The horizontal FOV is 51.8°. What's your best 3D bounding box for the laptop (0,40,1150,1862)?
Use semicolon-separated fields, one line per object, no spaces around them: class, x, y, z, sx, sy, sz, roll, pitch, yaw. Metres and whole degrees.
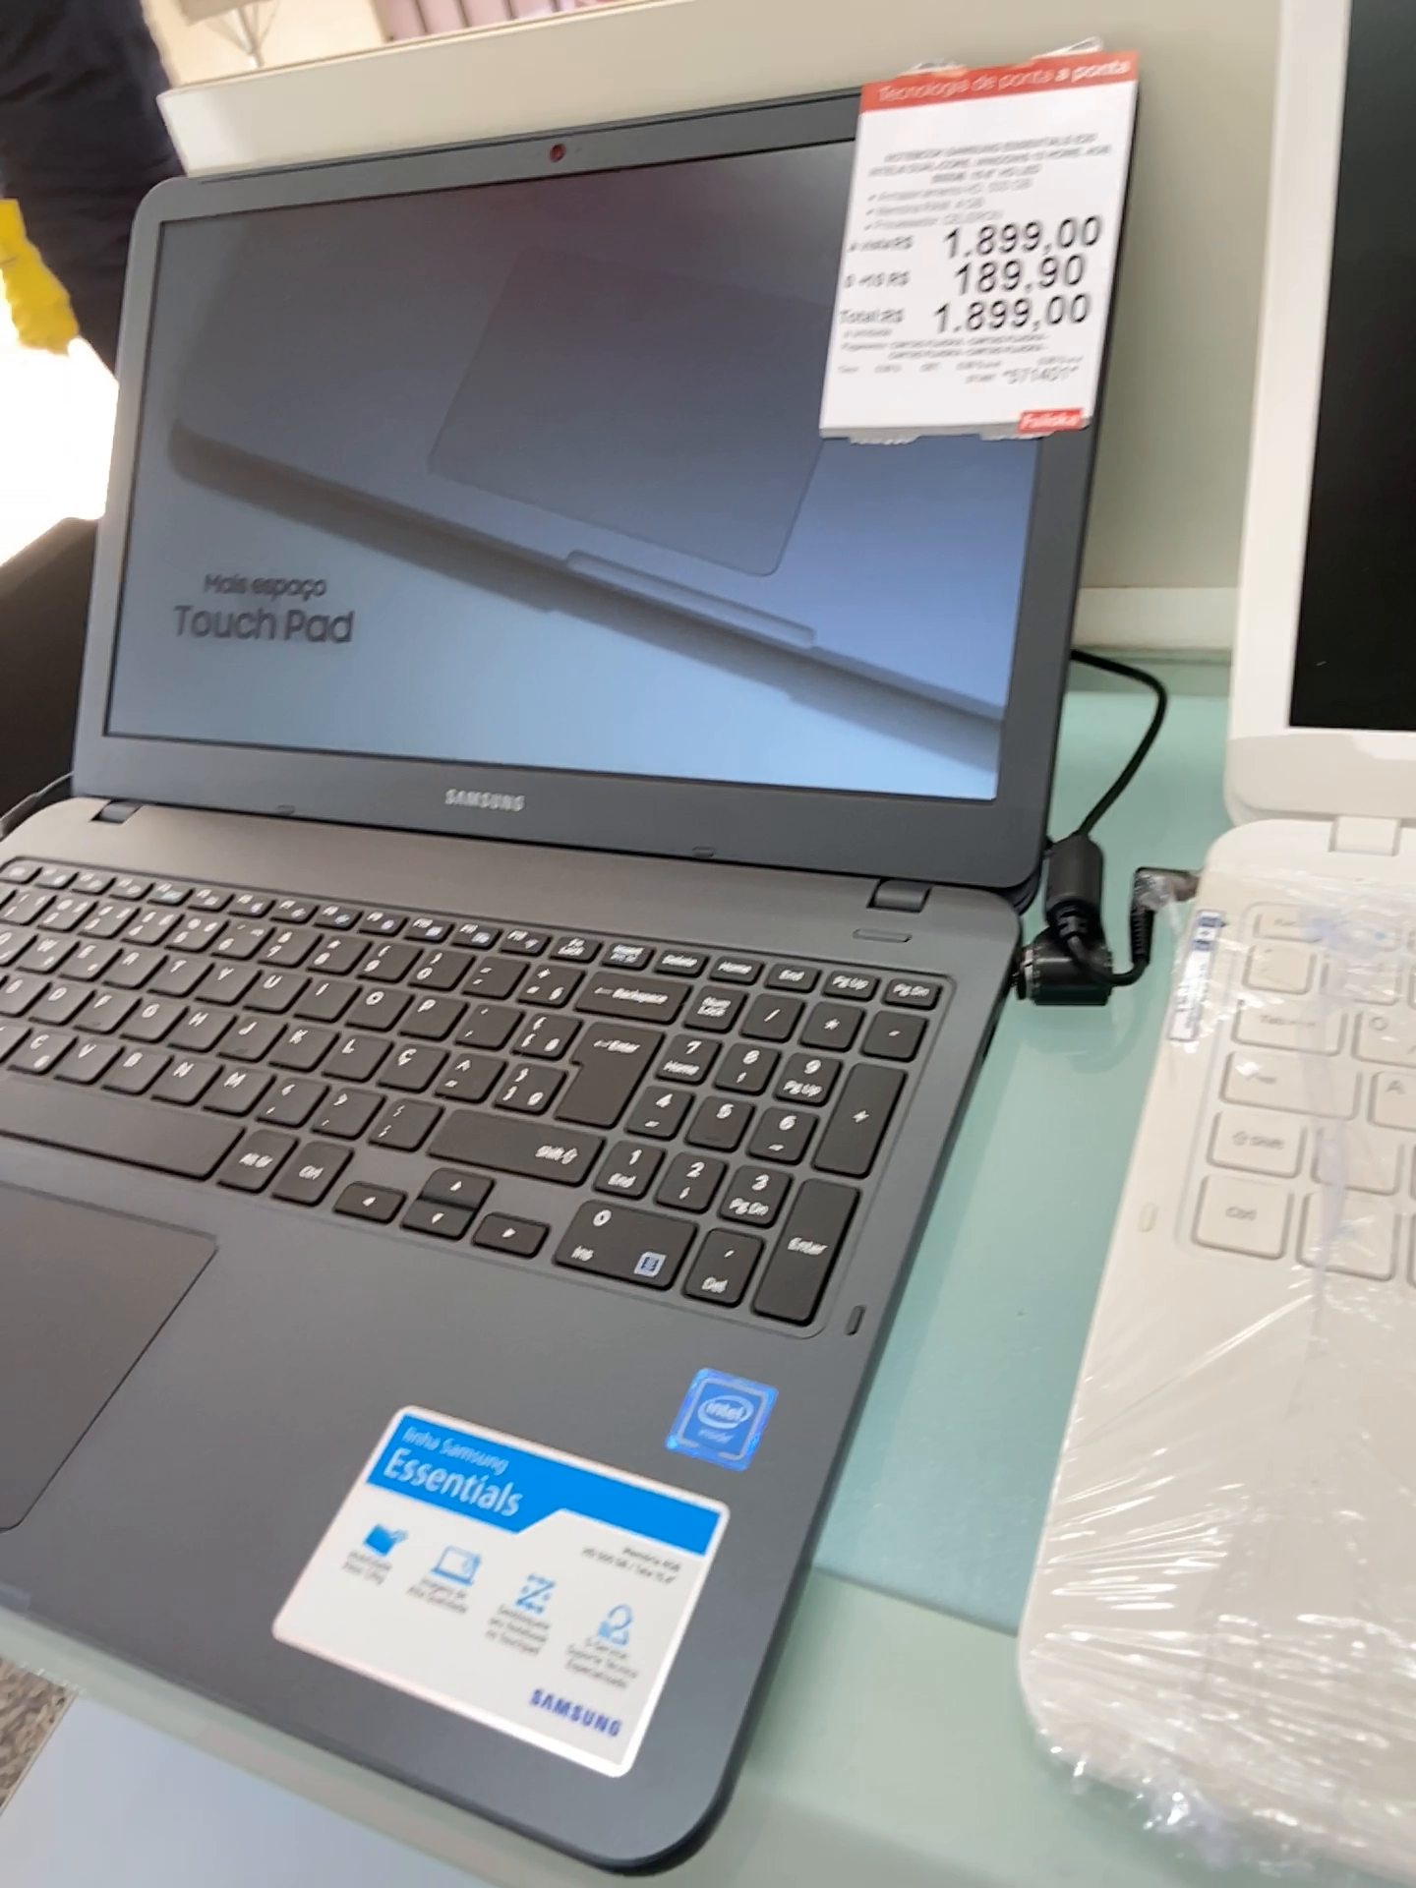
laptop;-0.111;-0.065;0.396;0.367;0.157;0.413;6;46;25
